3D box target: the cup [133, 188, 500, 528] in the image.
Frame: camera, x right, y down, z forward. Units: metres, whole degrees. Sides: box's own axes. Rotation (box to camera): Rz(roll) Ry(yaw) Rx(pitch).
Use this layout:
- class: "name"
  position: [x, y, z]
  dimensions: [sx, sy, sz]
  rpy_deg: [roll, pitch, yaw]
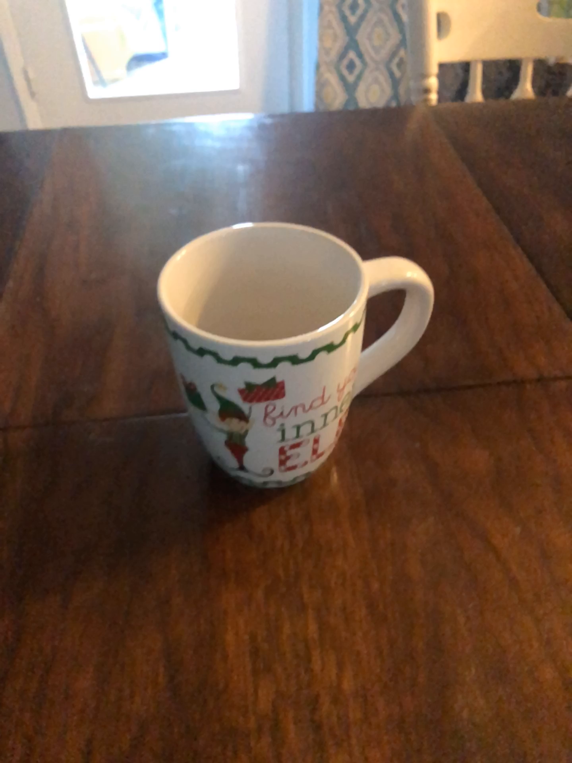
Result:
- class: "cup"
  position: [0.012, -0.018, 0.375]
  dimensions: [0.160, 0.120, 0.110]
  rpy_deg: [-16, 46, -15]
